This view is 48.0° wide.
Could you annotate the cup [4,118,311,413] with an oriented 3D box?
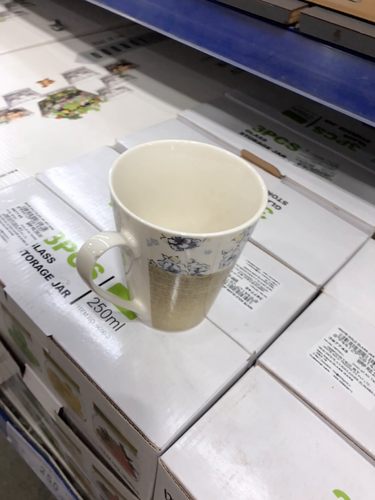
[{"bbox_3d":[-0.017,0.003,0.252,0.130,0.100,0.090,-27,55,-29],"label":"cup"}]
